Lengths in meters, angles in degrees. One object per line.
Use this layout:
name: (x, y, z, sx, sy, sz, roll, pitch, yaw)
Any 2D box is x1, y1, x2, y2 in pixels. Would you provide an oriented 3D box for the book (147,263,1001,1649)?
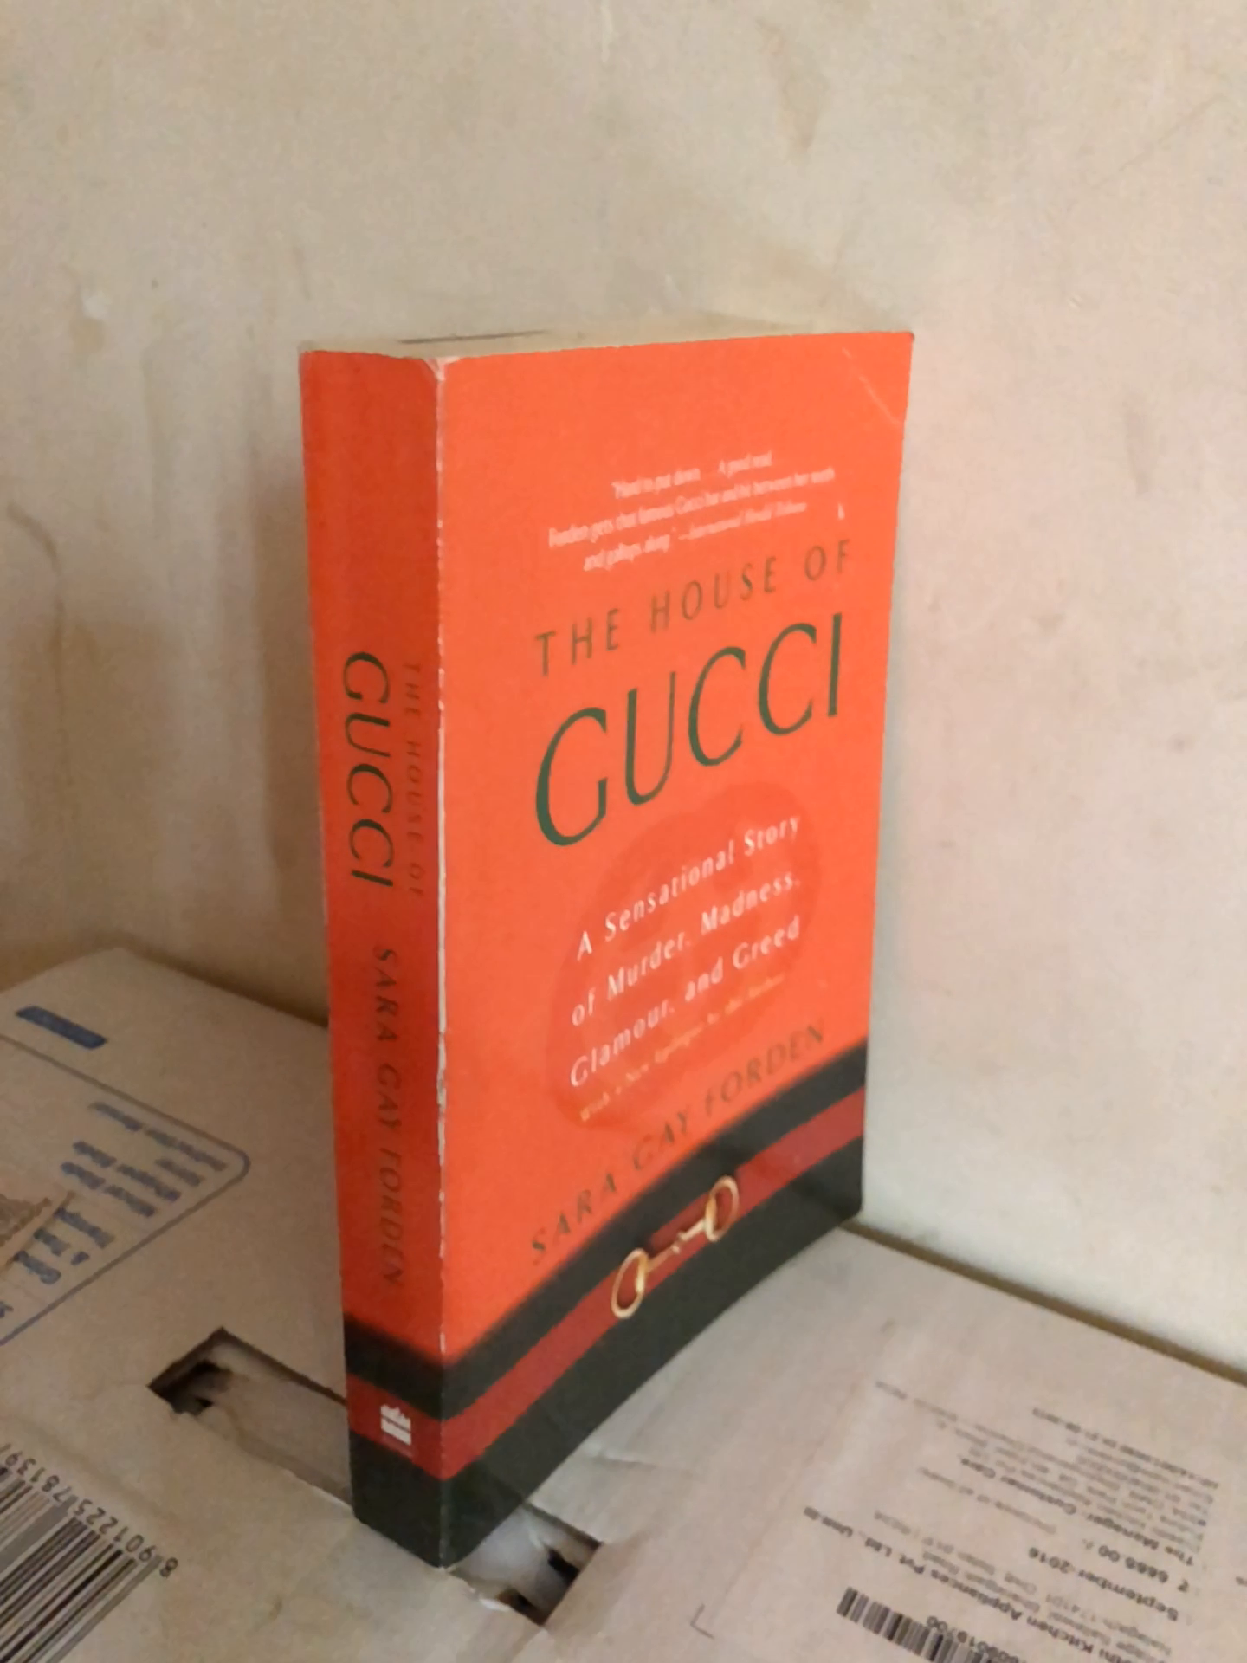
book: (0.007, 0.009, 0.290, 0.040, 0.229, 0.191, 18, 29, 32)
